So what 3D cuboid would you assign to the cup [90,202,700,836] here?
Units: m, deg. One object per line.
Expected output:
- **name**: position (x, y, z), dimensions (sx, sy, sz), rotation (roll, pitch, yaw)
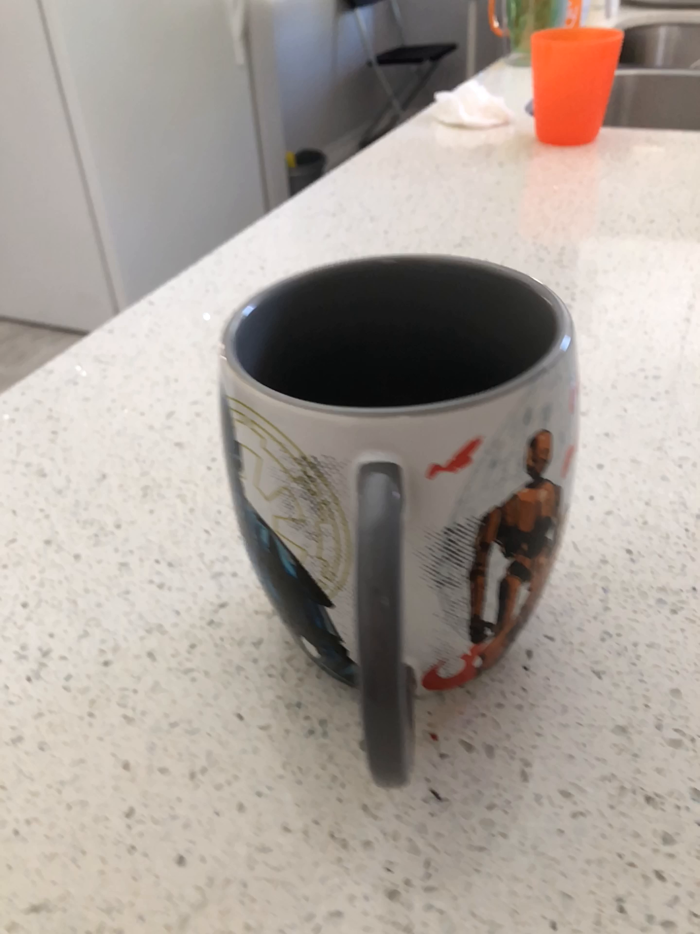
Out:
- **cup**: position (0.015, 0.003, 0.211), dimensions (0.100, 0.100, 0.140), rotation (-1, 36, 6)
